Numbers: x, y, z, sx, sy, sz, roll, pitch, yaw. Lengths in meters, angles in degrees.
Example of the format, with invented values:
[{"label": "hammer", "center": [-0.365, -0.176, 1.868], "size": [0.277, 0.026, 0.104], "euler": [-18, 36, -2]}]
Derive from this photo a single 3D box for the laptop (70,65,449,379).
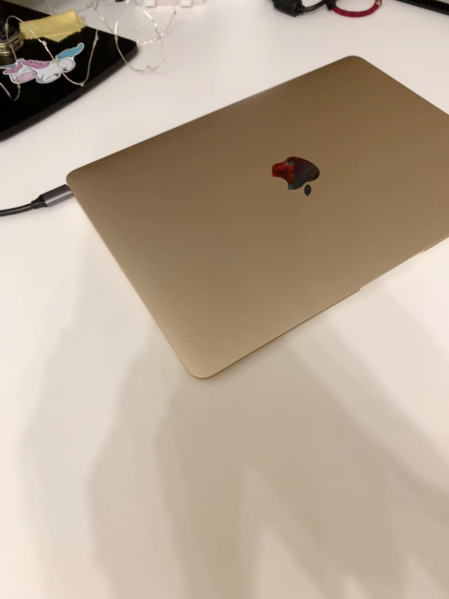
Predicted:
[{"label": "laptop", "center": [0.048, -0.080, 0.325], "size": [0.255, 0.013, 0.174], "euler": [-28, 61, -19]}]
